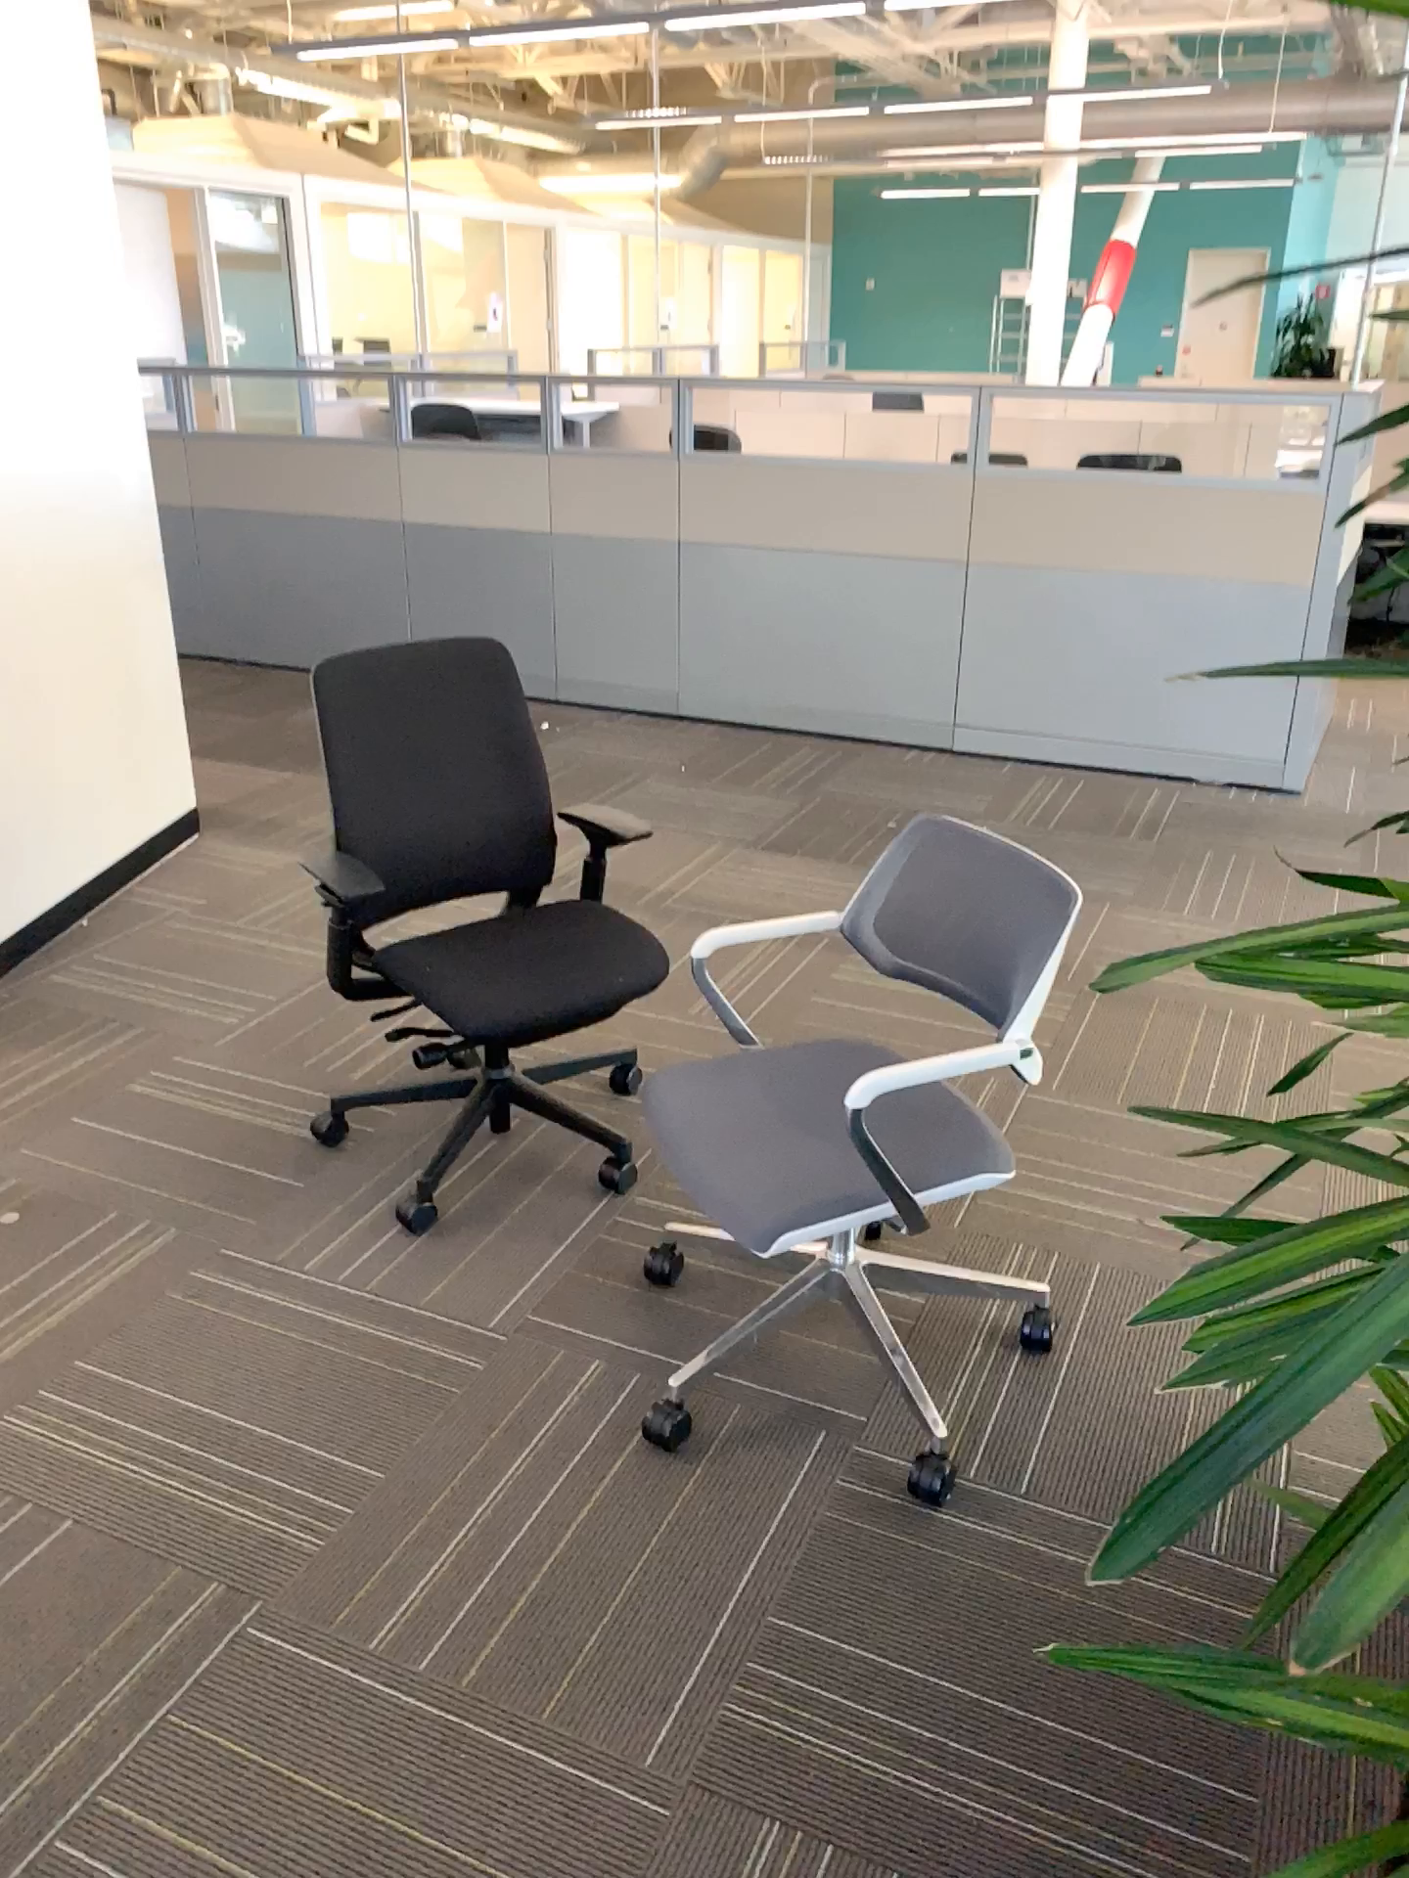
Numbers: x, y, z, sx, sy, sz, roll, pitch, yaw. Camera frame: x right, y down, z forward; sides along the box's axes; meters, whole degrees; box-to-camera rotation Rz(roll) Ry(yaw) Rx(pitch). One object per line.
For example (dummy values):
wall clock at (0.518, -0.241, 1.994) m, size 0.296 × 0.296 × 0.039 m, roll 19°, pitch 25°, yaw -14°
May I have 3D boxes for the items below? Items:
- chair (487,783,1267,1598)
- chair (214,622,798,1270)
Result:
chair at (0.202, 0.283, 2.195) m, size 0.790 × 0.756 × 0.804 m, roll -11°, pitch 26°, yaw -26°
chair at (-0.400, -0.067, 2.813) m, size 0.800 × 0.885 × 0.855 m, roll -12°, pitch 26°, yaw -28°
